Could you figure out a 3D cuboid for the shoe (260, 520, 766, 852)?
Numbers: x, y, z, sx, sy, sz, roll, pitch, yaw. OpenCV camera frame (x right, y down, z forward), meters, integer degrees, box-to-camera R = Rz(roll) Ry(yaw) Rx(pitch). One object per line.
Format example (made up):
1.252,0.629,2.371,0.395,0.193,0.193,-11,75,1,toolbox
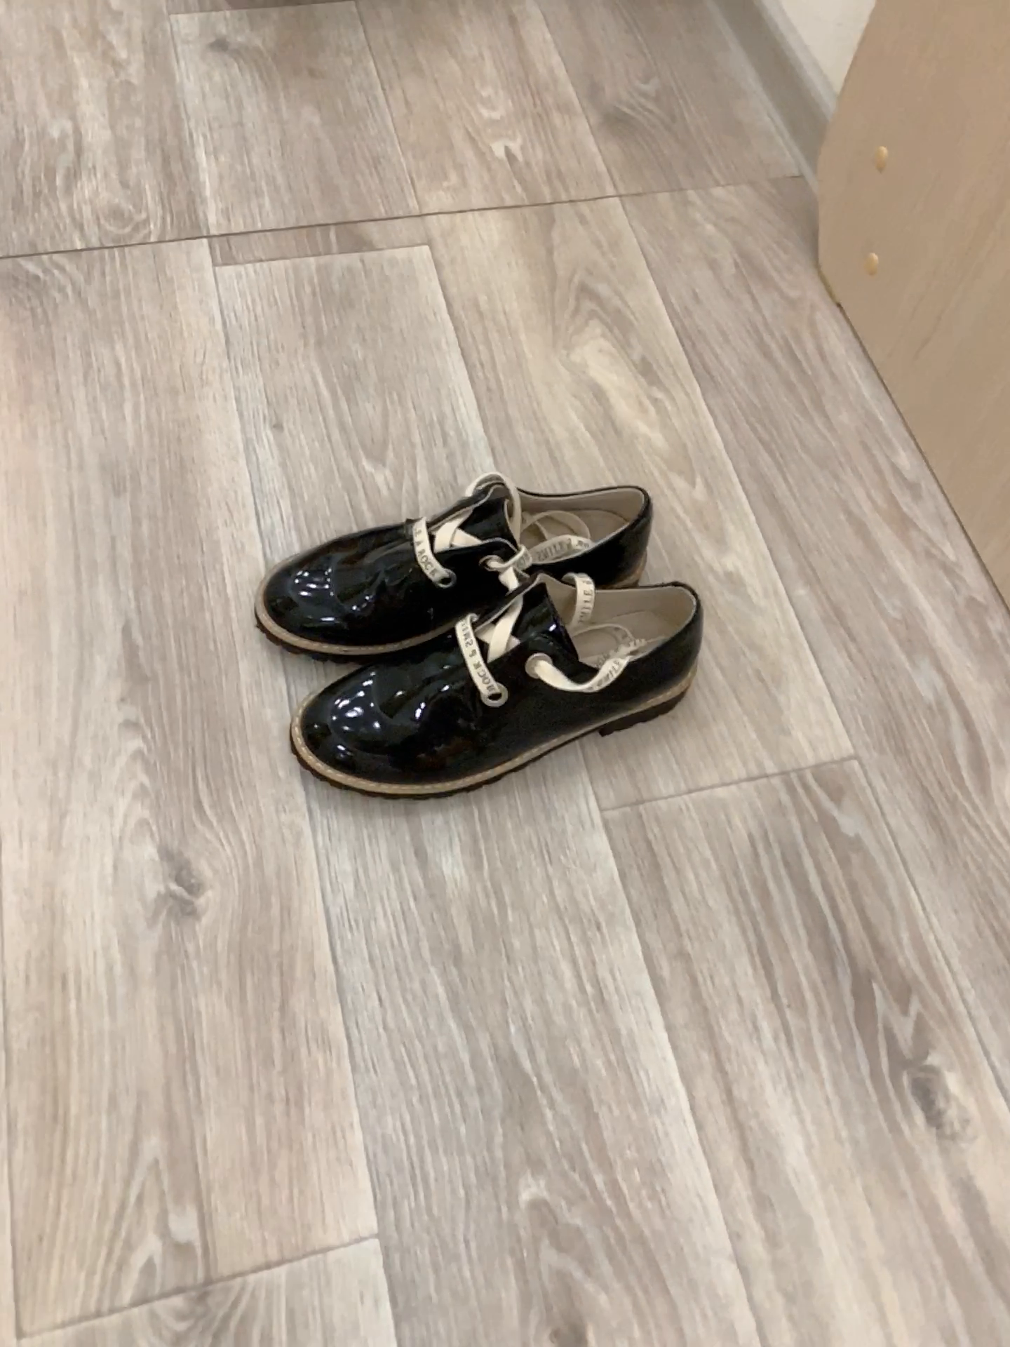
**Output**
0.003,0.007,0.627,0.270,0.100,0.100,-16,65,-13,shoe

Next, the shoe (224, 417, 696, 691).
-0.031,-0.077,0.664,0.270,0.100,0.100,-9,64,-10,shoe
